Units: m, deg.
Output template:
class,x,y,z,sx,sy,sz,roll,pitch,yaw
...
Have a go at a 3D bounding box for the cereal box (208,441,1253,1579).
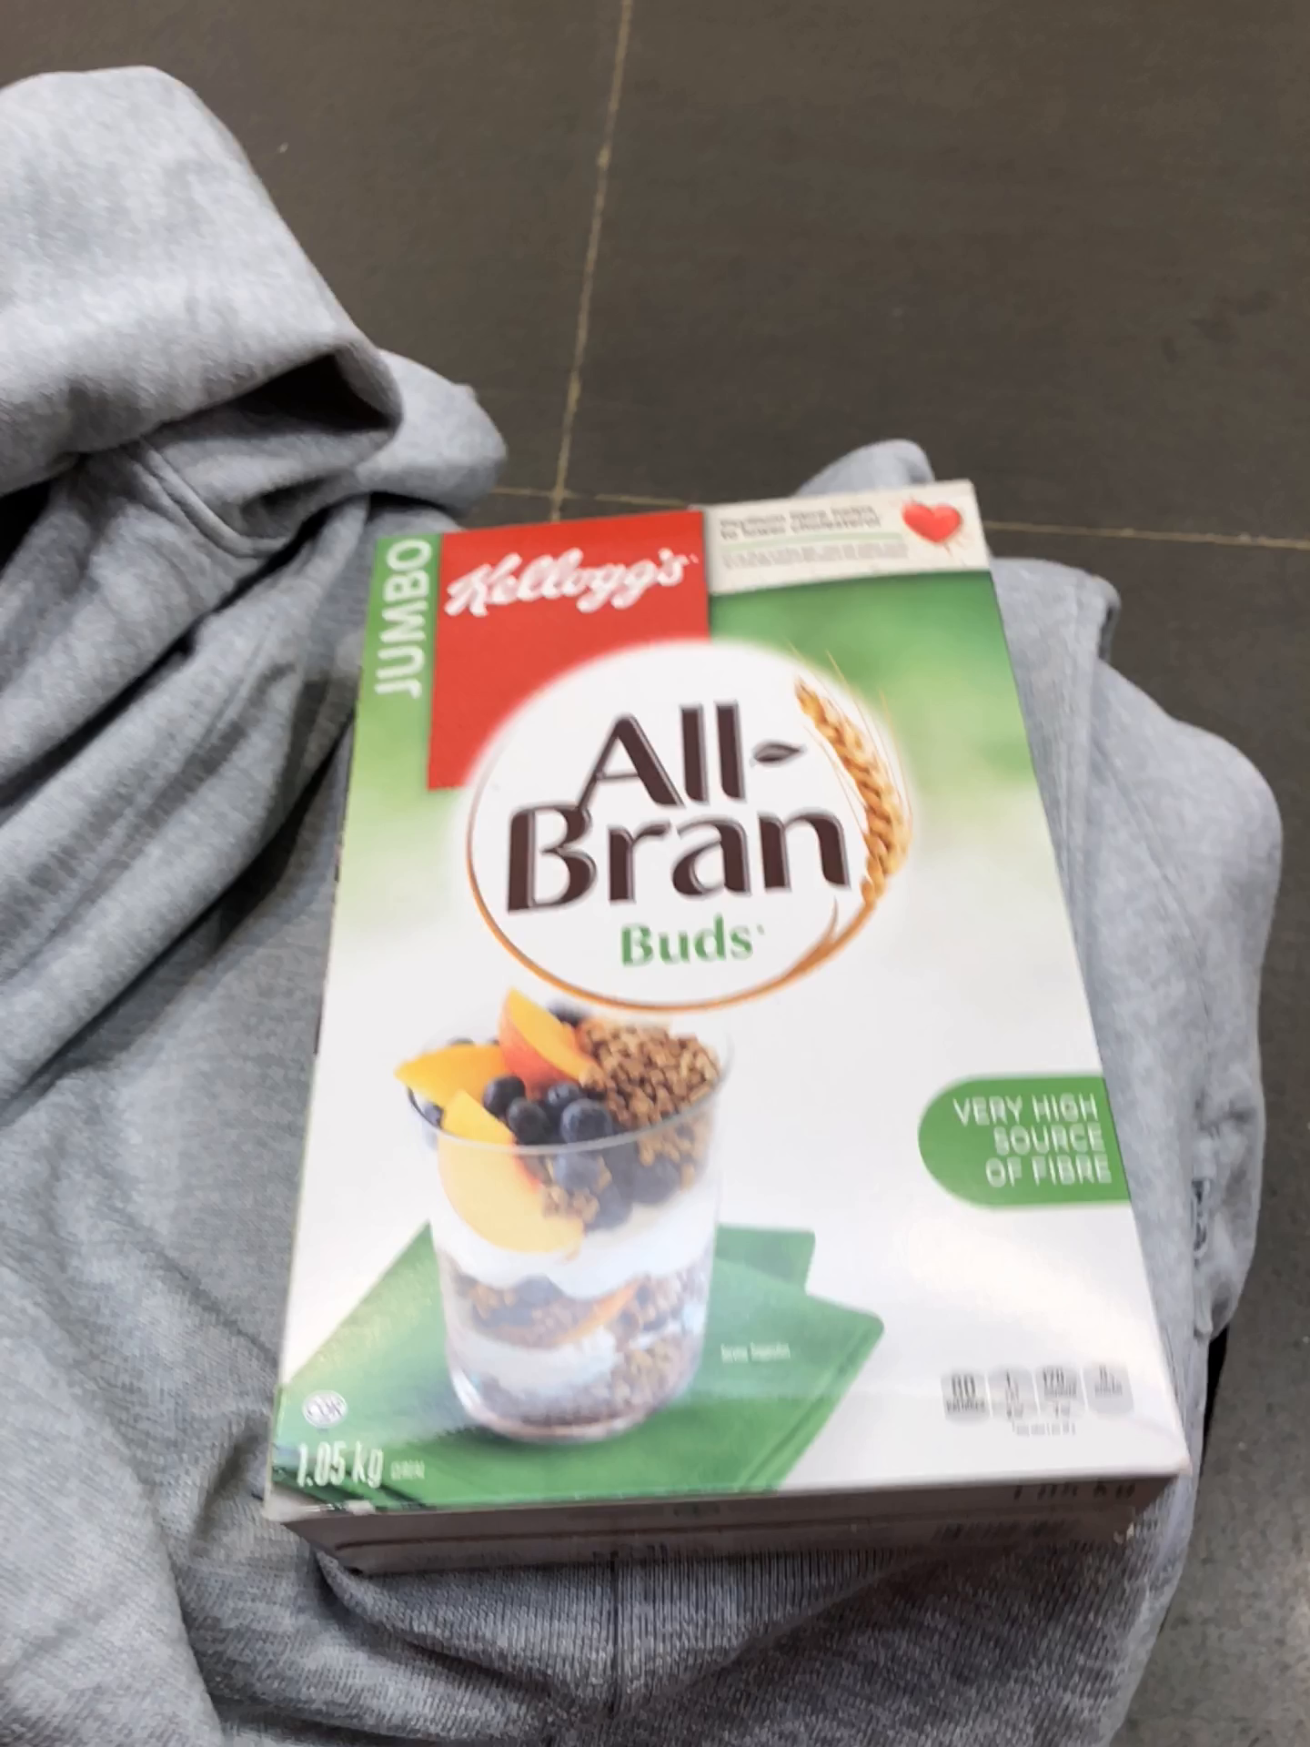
class,x,y,z,sx,sy,sz,roll,pitch,yaw
cereal box,0.015,0.017,0.396,0.200,0.070,0.301,-4,54,6
